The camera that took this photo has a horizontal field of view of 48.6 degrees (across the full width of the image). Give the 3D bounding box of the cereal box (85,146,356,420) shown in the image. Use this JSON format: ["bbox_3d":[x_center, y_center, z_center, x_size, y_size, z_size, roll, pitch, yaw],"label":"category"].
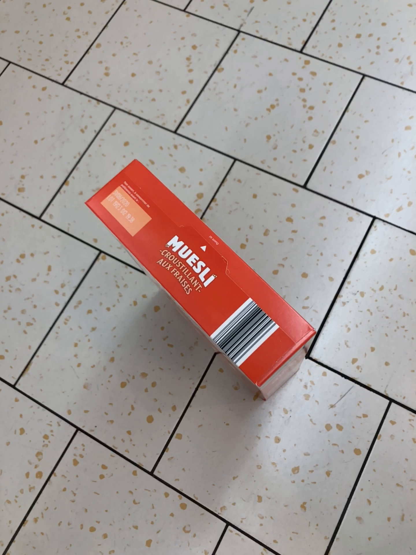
[{"bbox_3d":[0.017,0.030,0.433,0.070,0.250,0.200,-42,72,-6],"label":"cereal box"}]
